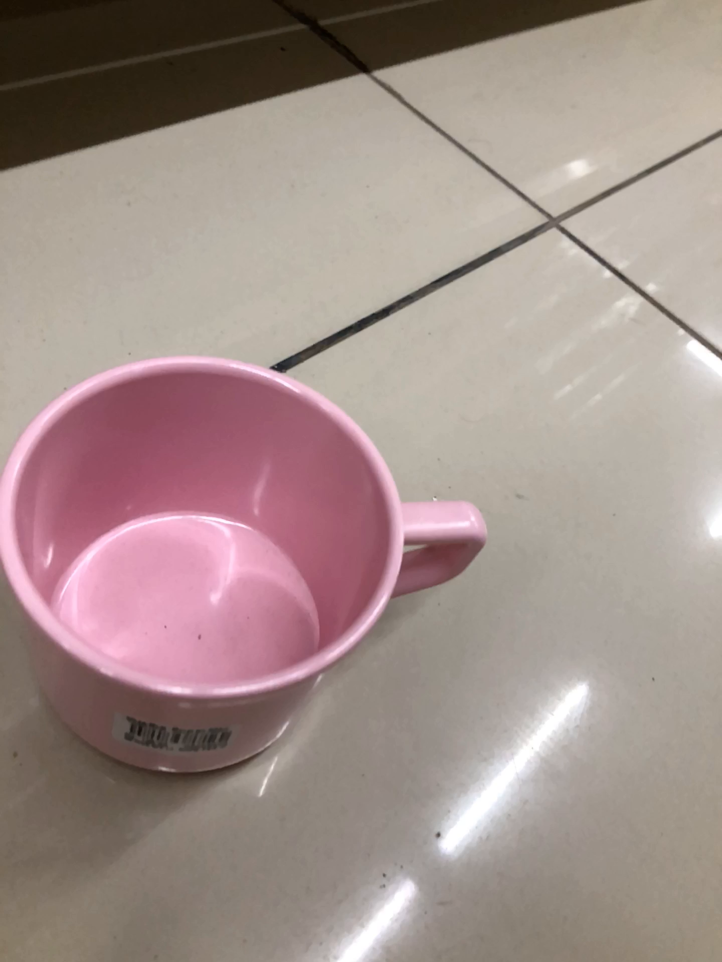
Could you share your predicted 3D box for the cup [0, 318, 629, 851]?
[{"bbox_3d":[-0.021,0.022,0.183,0.110,0.080,0.080,-2,56,-20],"label":"cup"}]
